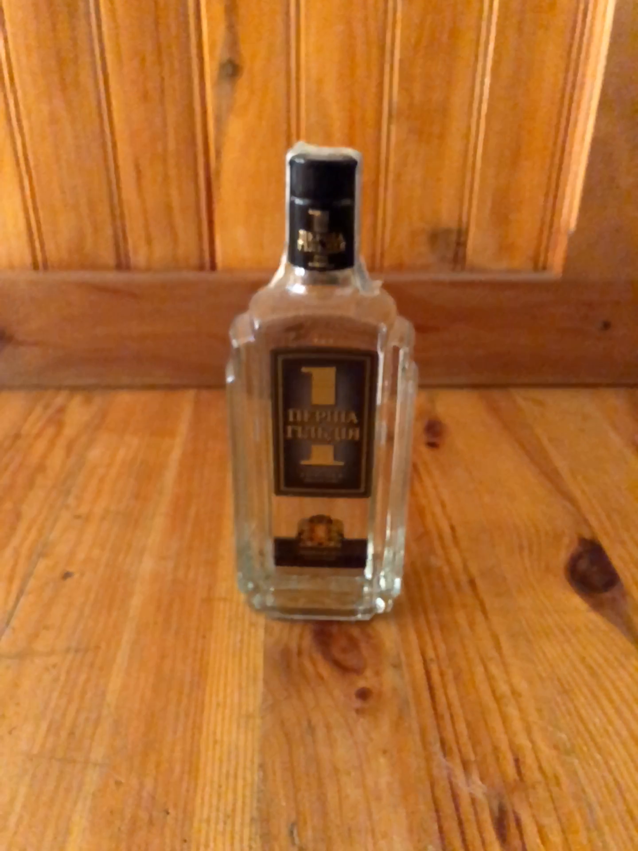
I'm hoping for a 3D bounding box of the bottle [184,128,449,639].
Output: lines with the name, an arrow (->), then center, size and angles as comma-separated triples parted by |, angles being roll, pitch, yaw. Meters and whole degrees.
bottle -> 0.000, -0.009, 0.356 | 0.100, 0.249, 0.060 | 2, 30, 3
